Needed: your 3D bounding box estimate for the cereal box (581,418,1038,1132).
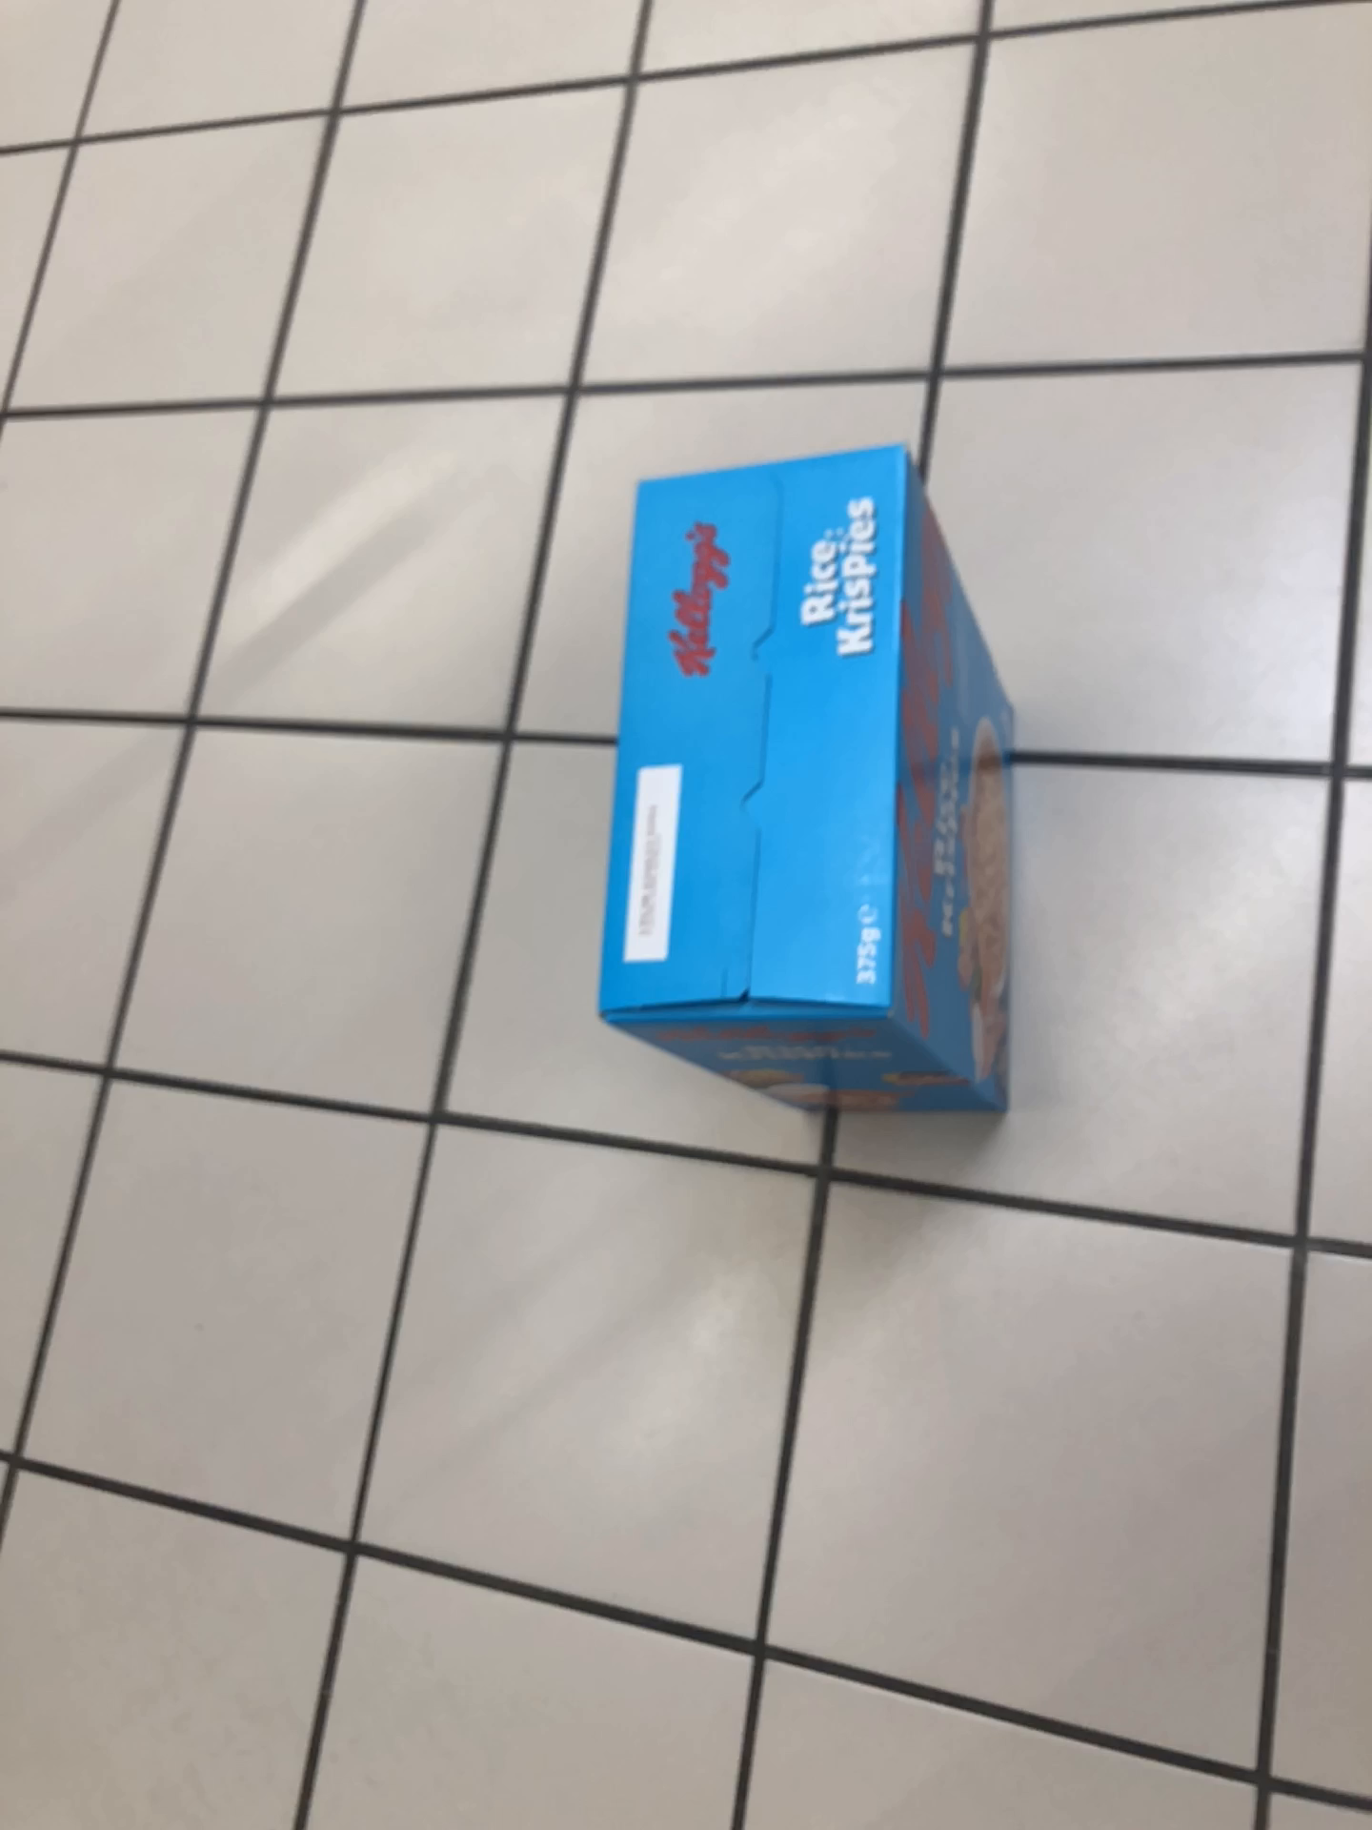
[{"bbox_3d":[0.065,-0.032,0.591,0.110,0.240,0.200,0,76,19],"label":"cereal box"}]
